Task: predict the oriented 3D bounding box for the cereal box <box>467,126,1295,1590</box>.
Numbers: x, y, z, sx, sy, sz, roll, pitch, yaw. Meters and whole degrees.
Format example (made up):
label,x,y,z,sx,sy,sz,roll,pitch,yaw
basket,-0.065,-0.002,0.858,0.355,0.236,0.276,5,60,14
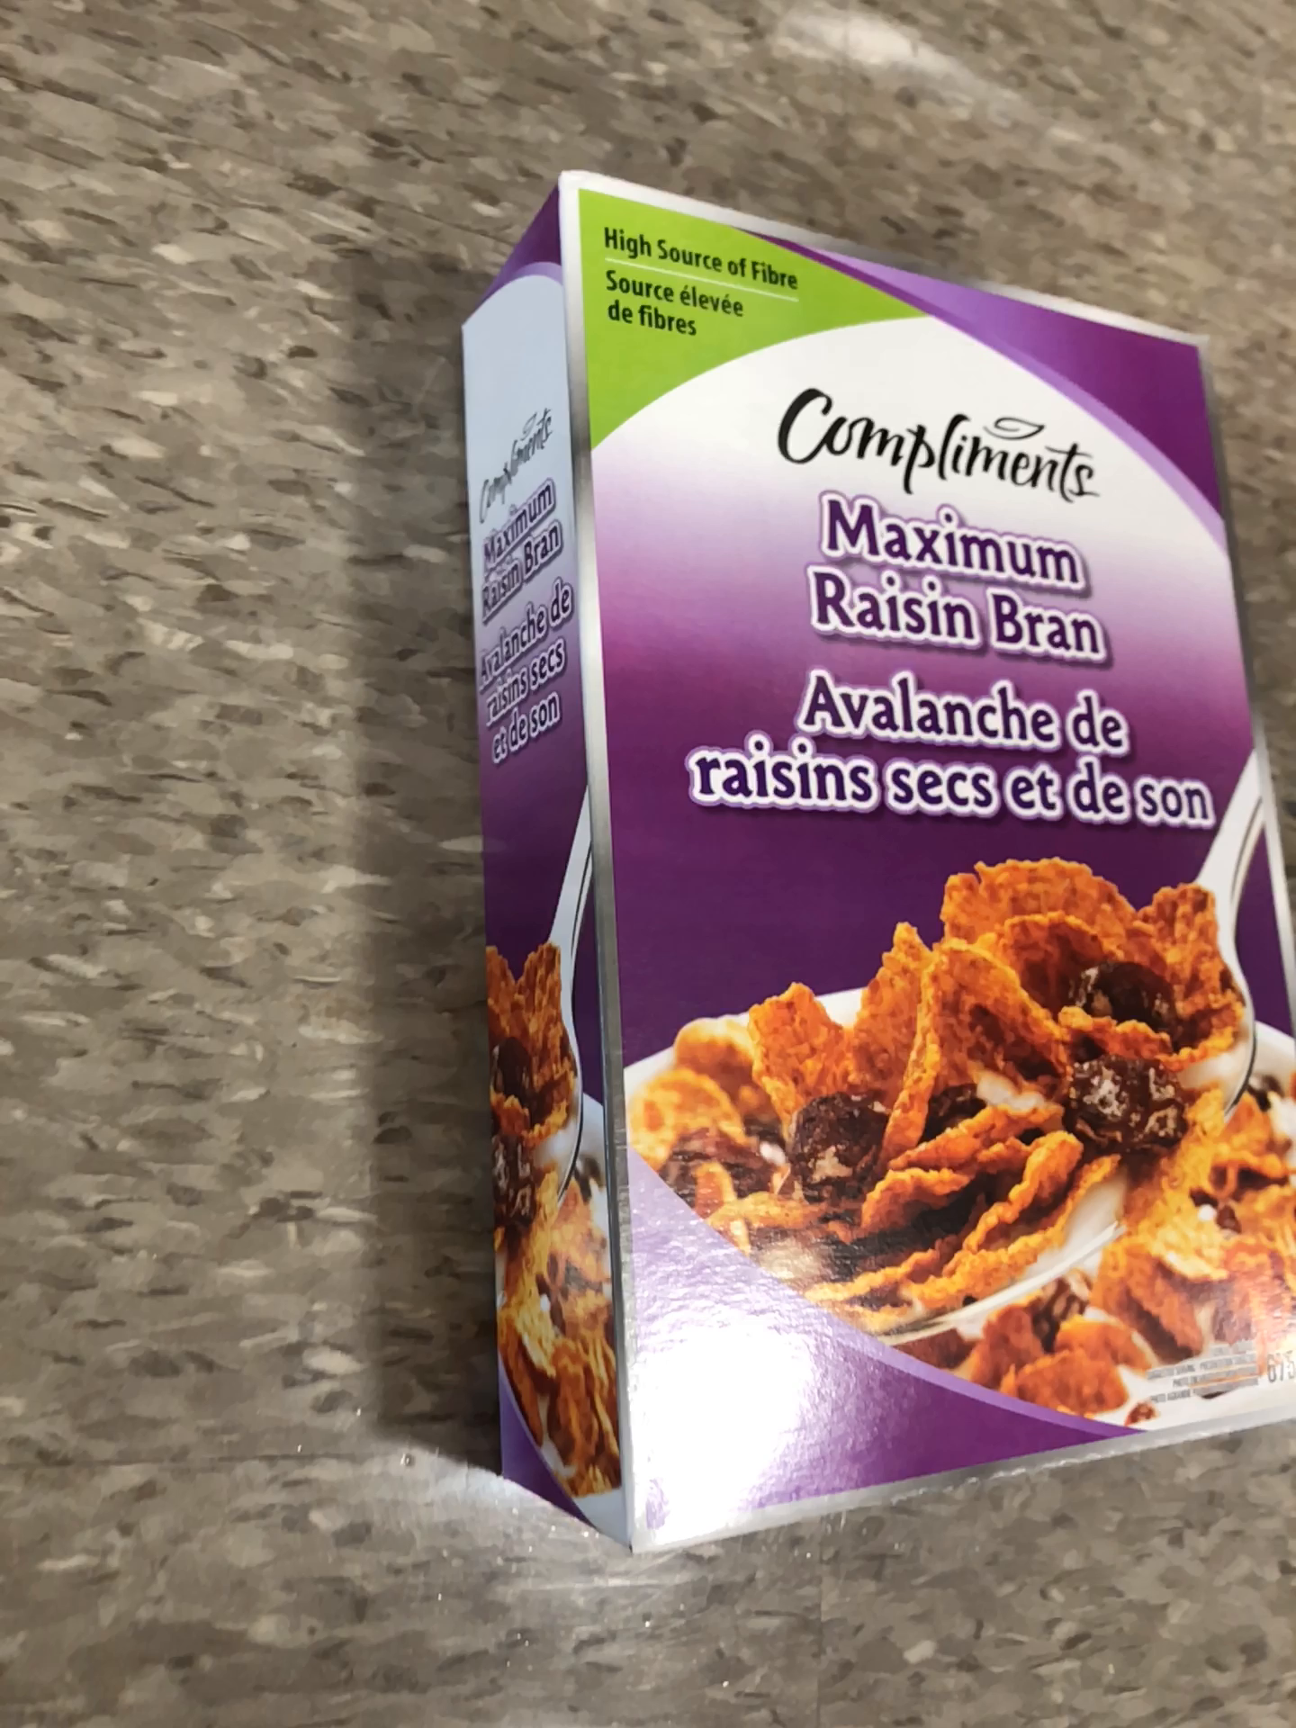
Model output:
label,x,y,z,sx,sy,sz,roll,pitch,yaw
cereal box,0.061,-0.004,0.372,0.201,0.070,0.310,4,76,-26
